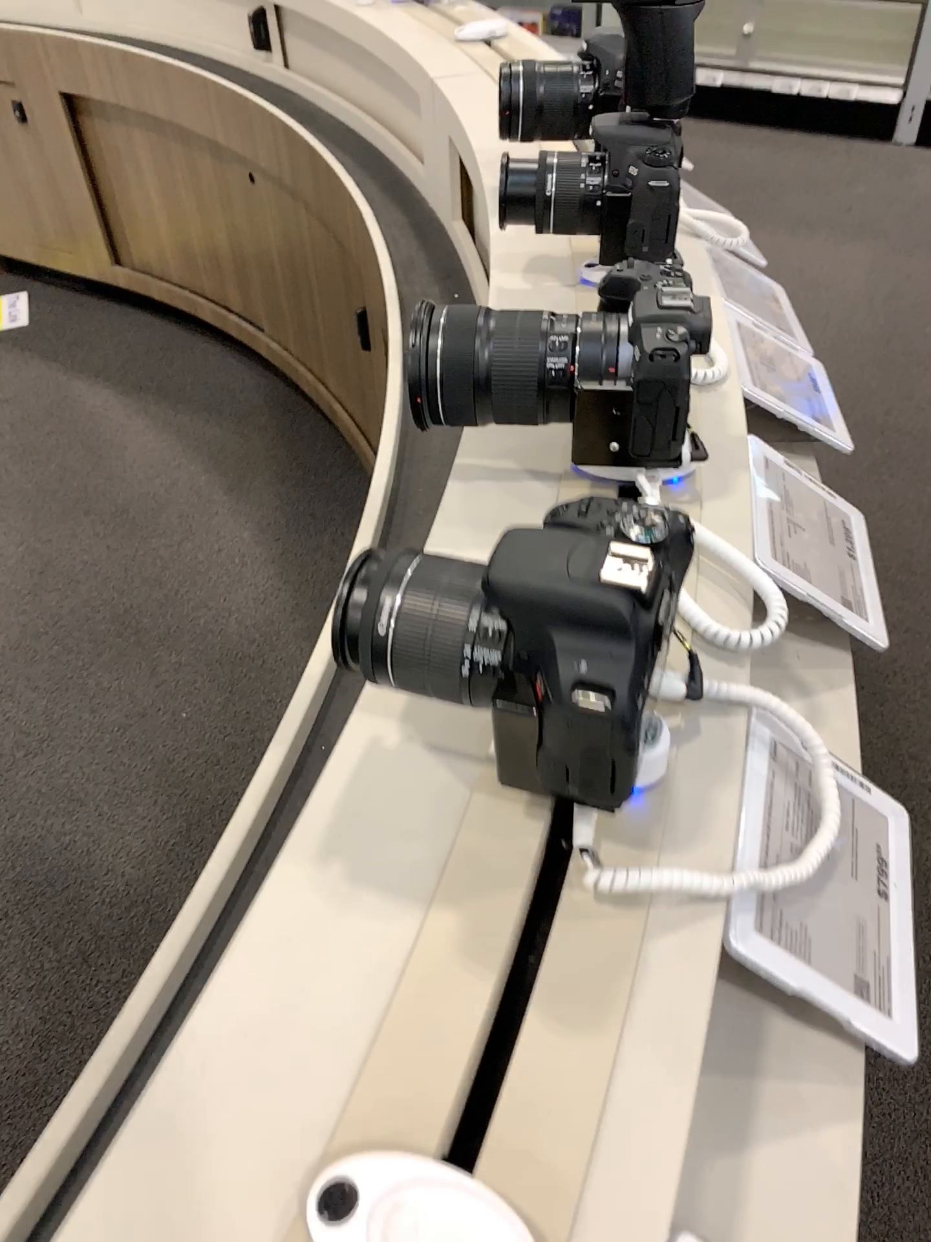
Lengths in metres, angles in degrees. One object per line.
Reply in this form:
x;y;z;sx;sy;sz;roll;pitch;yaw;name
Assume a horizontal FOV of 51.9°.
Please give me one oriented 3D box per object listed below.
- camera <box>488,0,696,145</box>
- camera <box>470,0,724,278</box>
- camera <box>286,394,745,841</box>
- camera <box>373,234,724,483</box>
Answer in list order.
0.121;-0.569;0.977;0.190;0.099;0.141;-2;45;2;camera
0.100;-0.417;0.775;0.170;0.219;0.151;2;45;6;camera
0.032;-0.009;0.463;0.170;0.119;0.151;10;46;14;camera
0.055;-0.176;0.632;0.200;0.099;0.141;2;45;7;camera
